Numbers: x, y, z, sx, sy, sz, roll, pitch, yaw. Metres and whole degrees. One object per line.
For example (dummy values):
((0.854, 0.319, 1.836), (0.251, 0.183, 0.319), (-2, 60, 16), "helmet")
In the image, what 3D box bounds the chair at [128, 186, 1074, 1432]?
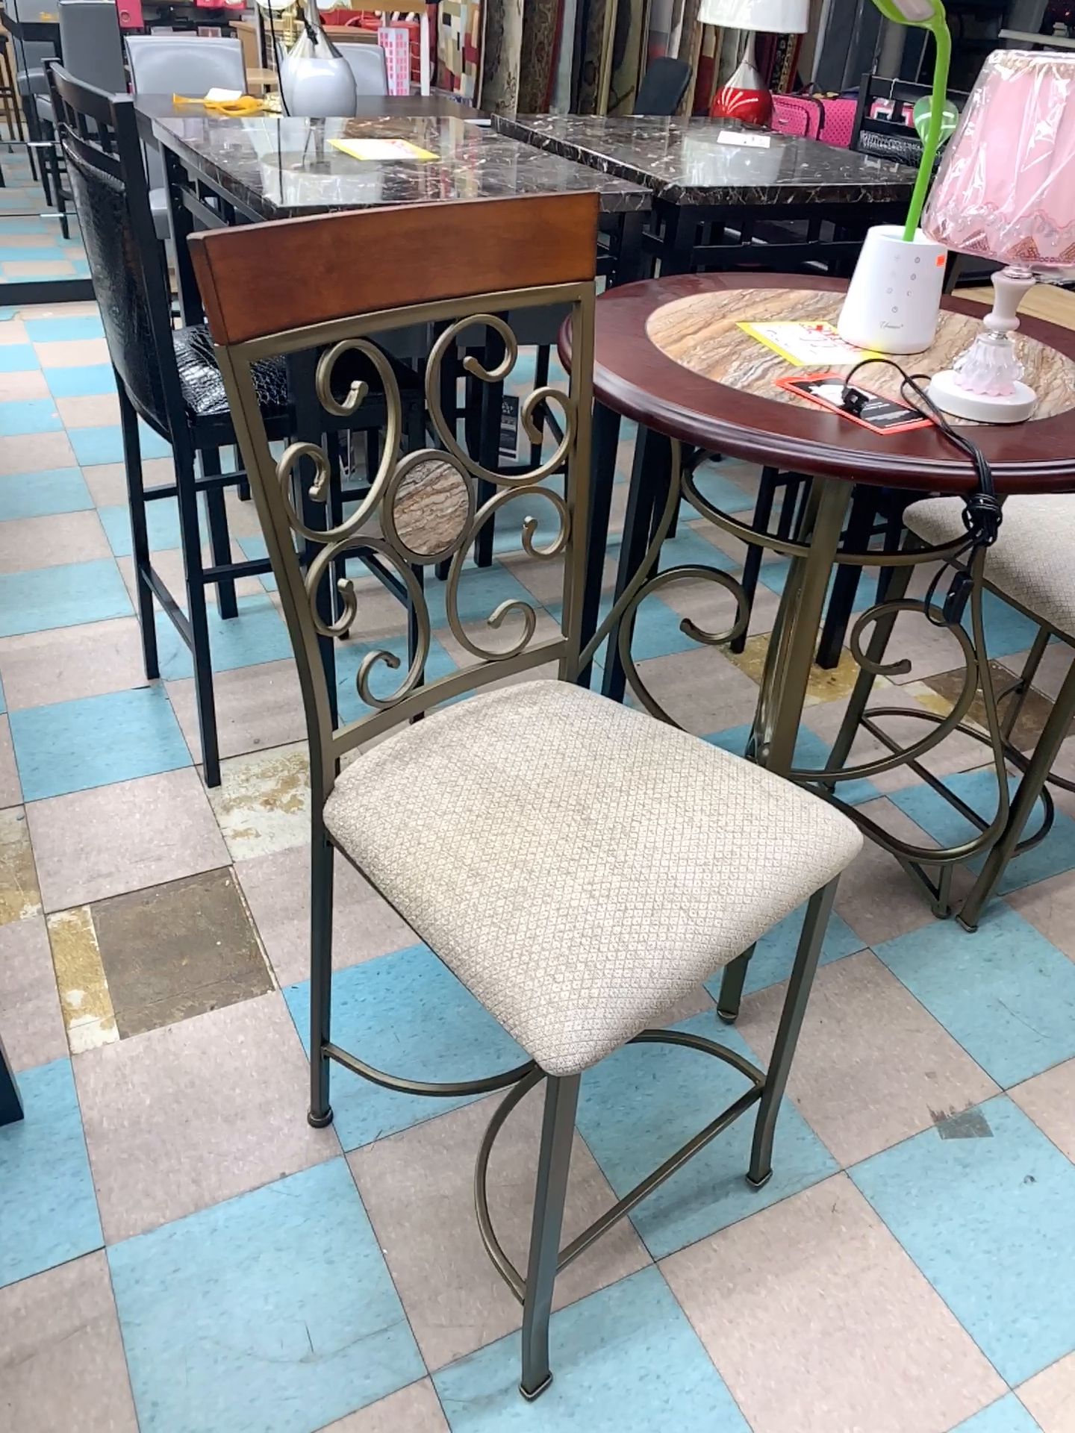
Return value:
((0.019, 0.099, 1.146), (0.511, 1.074, 0.562), (-24, 44, -34), "chair")
